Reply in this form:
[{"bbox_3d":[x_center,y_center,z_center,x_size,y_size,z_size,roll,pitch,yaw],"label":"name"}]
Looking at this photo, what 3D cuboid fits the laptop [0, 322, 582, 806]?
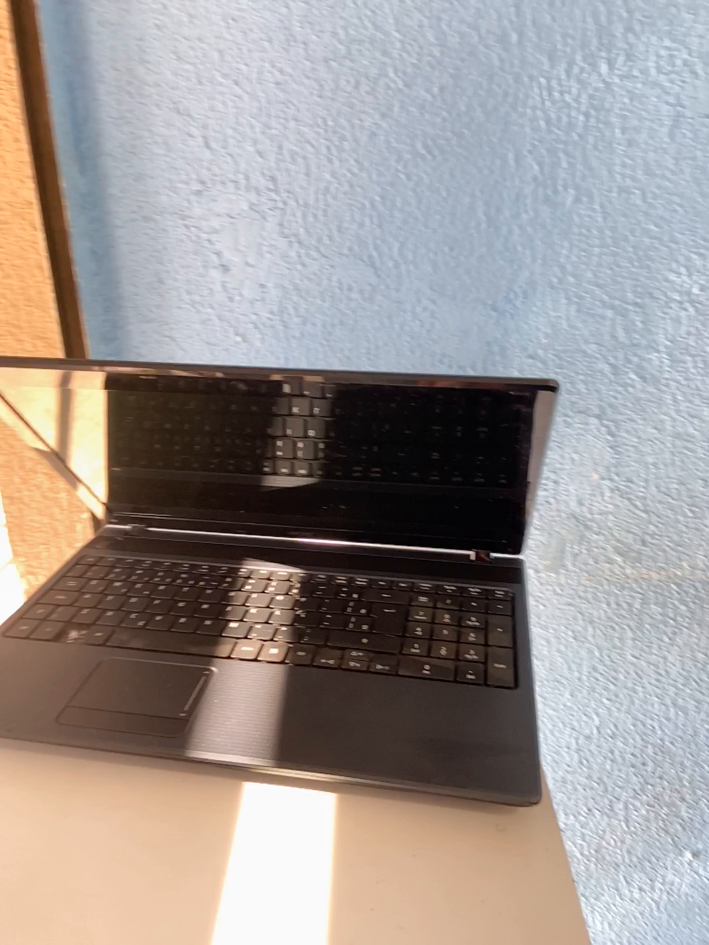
[{"bbox_3d":[-0.066,0.025,0.489,0.376,0.191,0.249,3,23,10],"label":"laptop"}]
